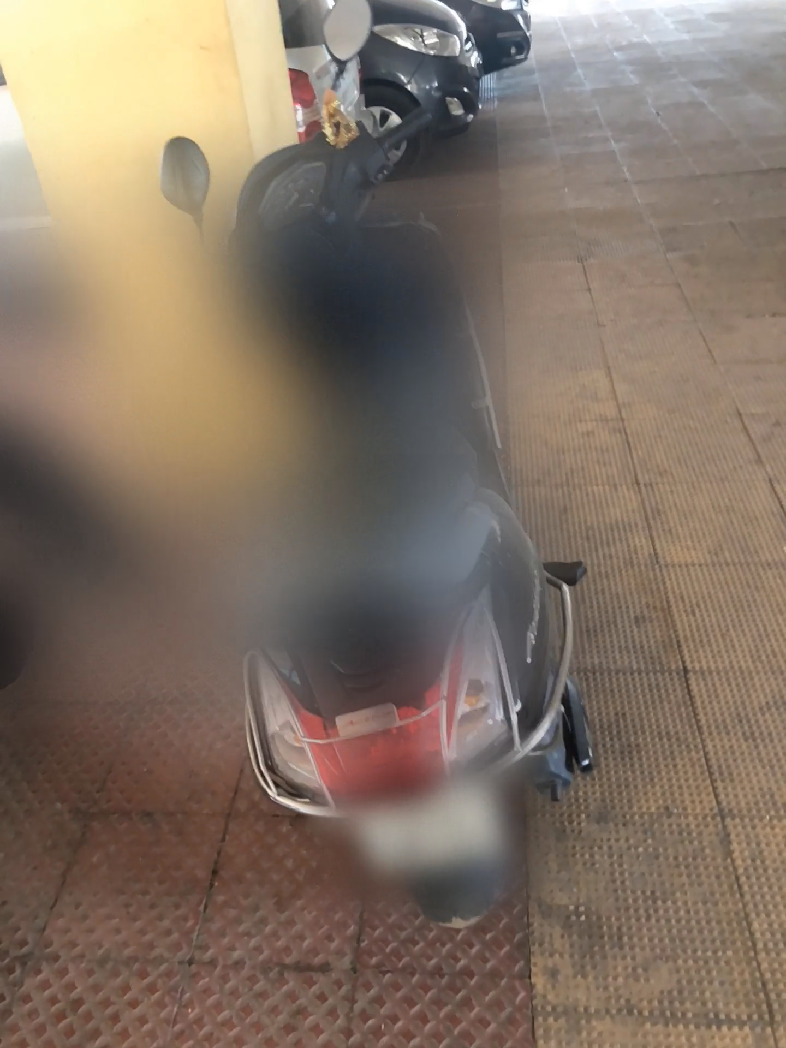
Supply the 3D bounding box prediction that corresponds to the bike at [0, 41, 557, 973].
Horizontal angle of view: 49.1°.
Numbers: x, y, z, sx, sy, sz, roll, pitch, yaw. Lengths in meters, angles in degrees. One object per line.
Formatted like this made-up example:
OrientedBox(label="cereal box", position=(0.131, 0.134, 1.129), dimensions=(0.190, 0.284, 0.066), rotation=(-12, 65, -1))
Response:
OrientedBox(label="bike", position=(-0.201, -0.148, 1.782), dimensions=(0.608, 1.172, 1.448), rotation=(-10, 39, -4))
